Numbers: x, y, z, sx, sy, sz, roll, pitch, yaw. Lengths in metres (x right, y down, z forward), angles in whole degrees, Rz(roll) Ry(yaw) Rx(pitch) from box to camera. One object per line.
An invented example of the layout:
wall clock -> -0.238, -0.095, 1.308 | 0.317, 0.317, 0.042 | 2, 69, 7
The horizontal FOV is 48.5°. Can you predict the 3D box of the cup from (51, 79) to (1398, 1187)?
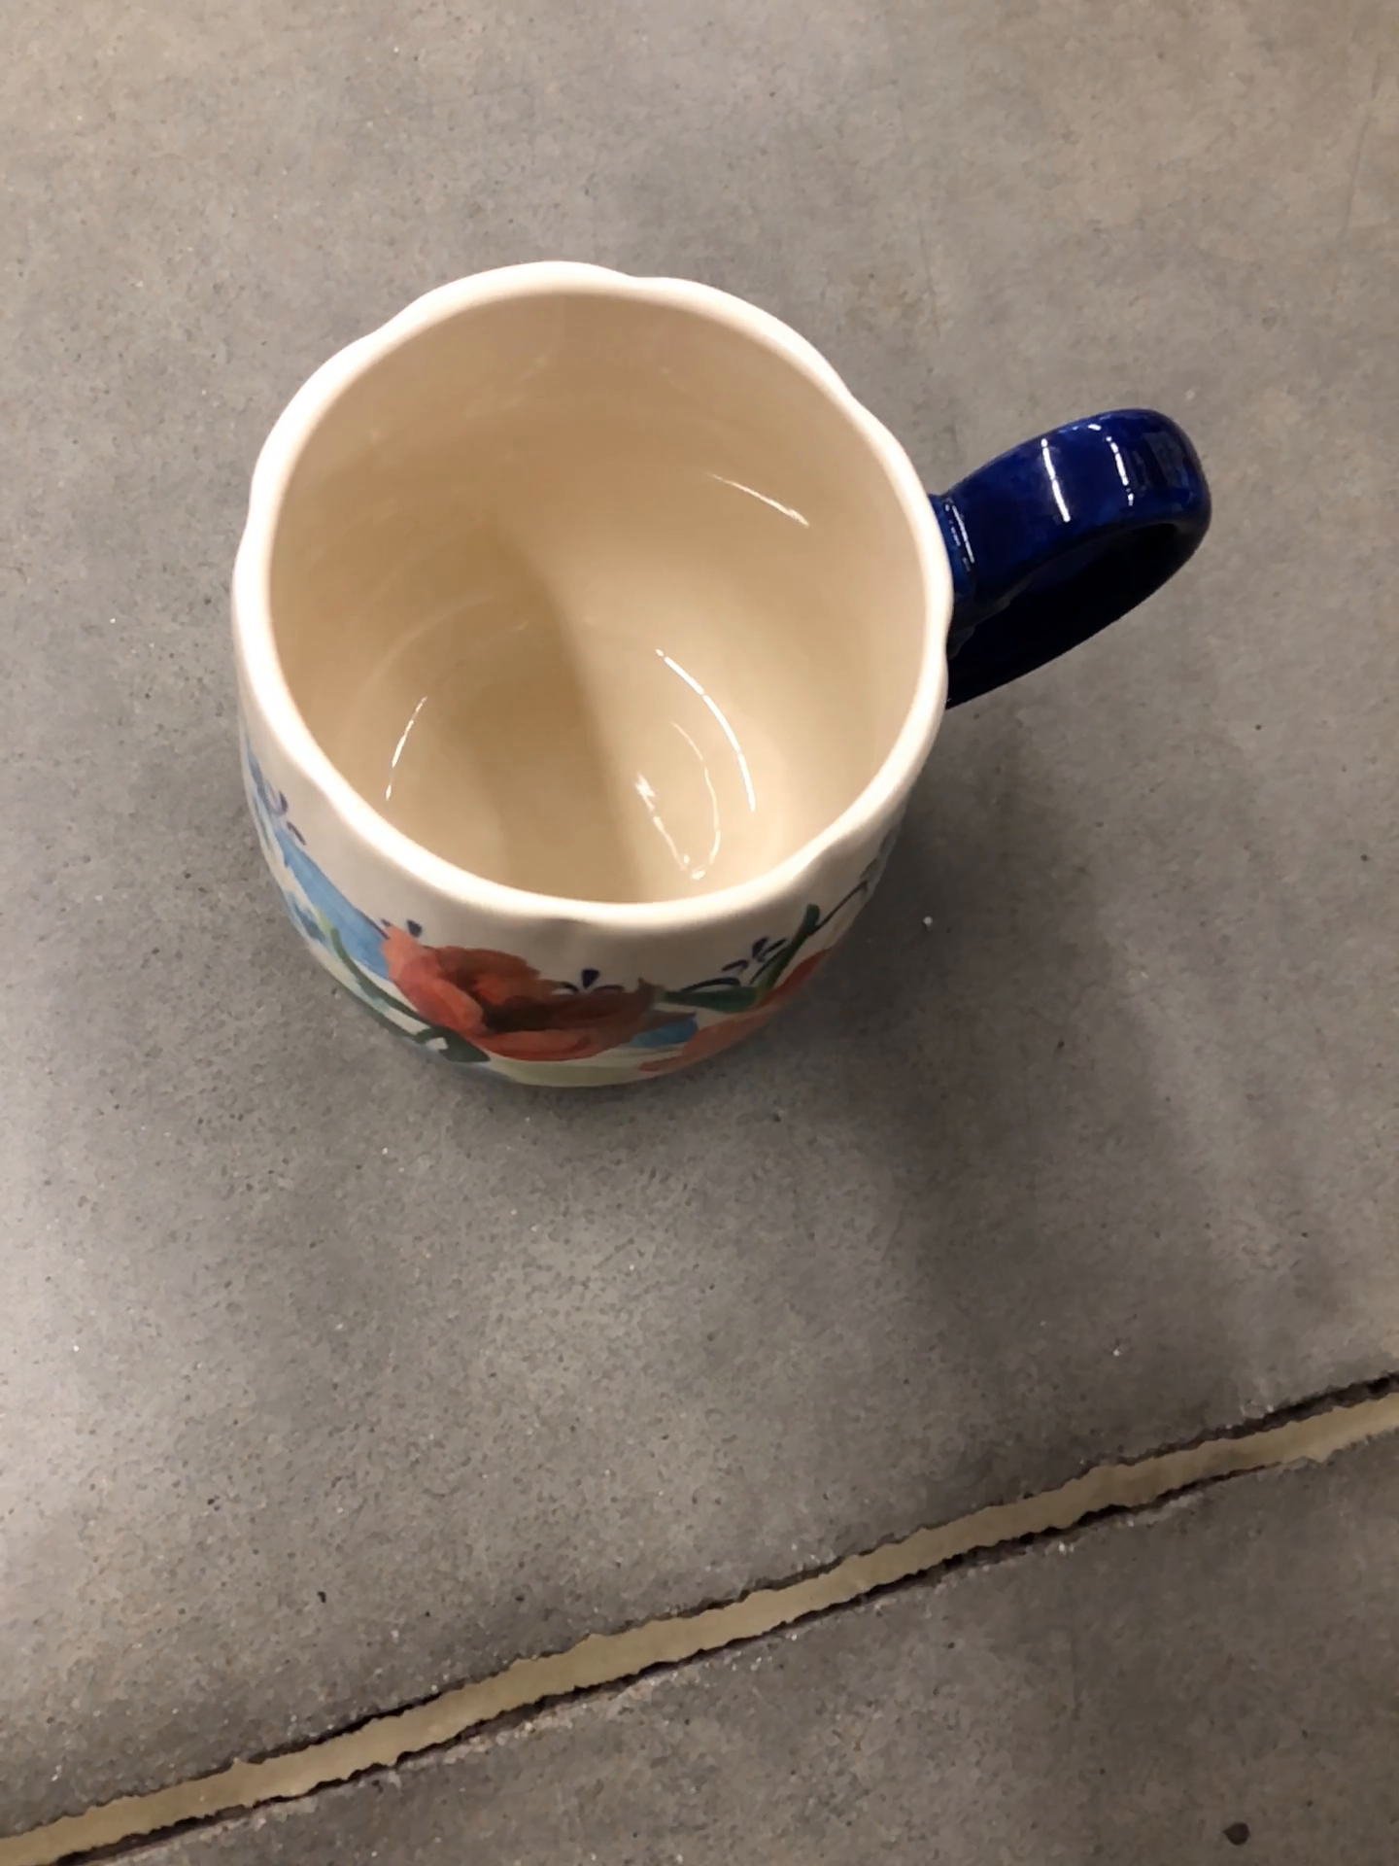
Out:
cup -> 0.001, -0.035, 0.235 | 0.140, 0.100, 0.100 | -19, 82, -10
